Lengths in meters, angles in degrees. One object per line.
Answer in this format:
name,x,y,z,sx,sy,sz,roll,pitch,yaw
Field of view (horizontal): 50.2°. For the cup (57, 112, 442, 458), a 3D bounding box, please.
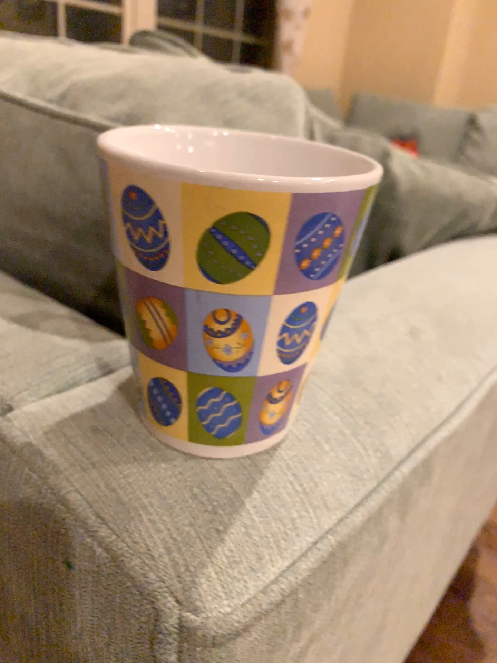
cup,-0.008,-0.028,0.203,0.095,0.087,0.123,3,26,-7
